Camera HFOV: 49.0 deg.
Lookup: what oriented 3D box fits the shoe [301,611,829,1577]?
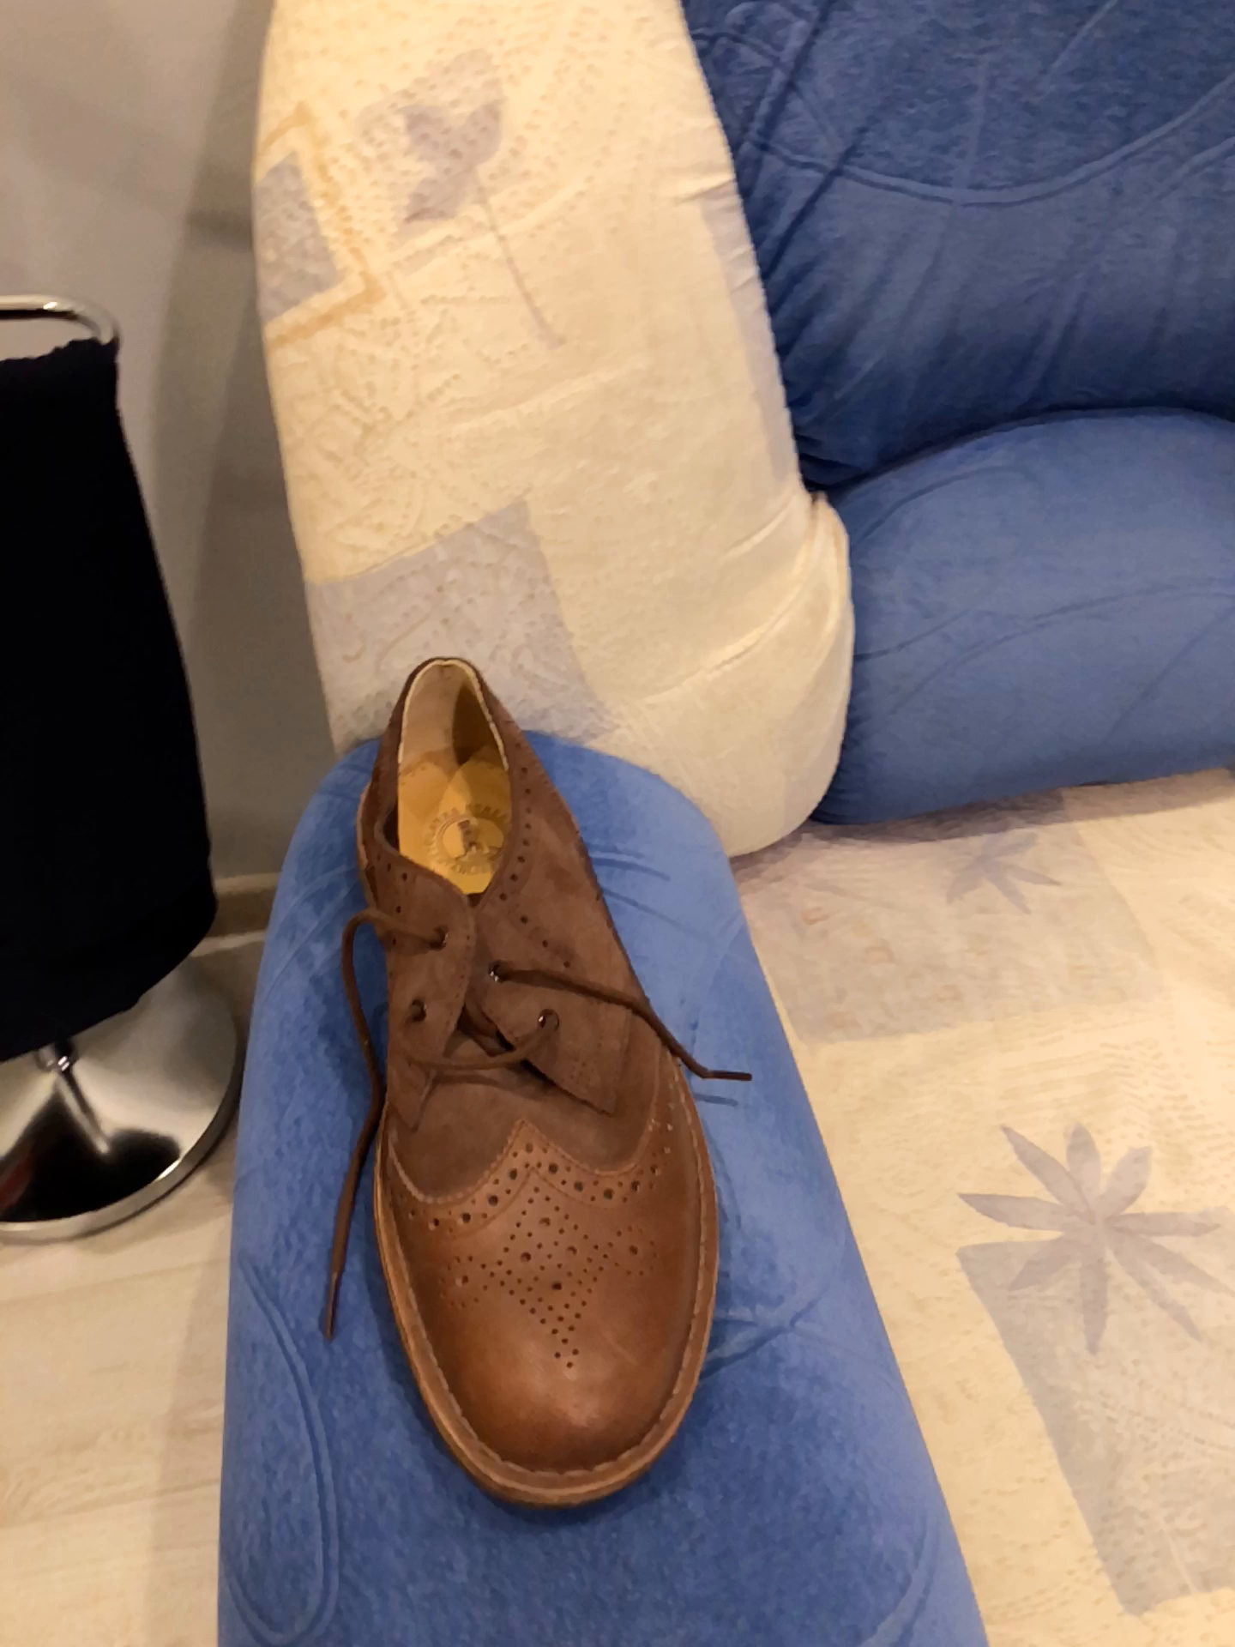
[{"bbox_3d":[-0.036,0.067,0.474,0.113,0.089,0.314,-9,49,-9],"label":"shoe"}]
